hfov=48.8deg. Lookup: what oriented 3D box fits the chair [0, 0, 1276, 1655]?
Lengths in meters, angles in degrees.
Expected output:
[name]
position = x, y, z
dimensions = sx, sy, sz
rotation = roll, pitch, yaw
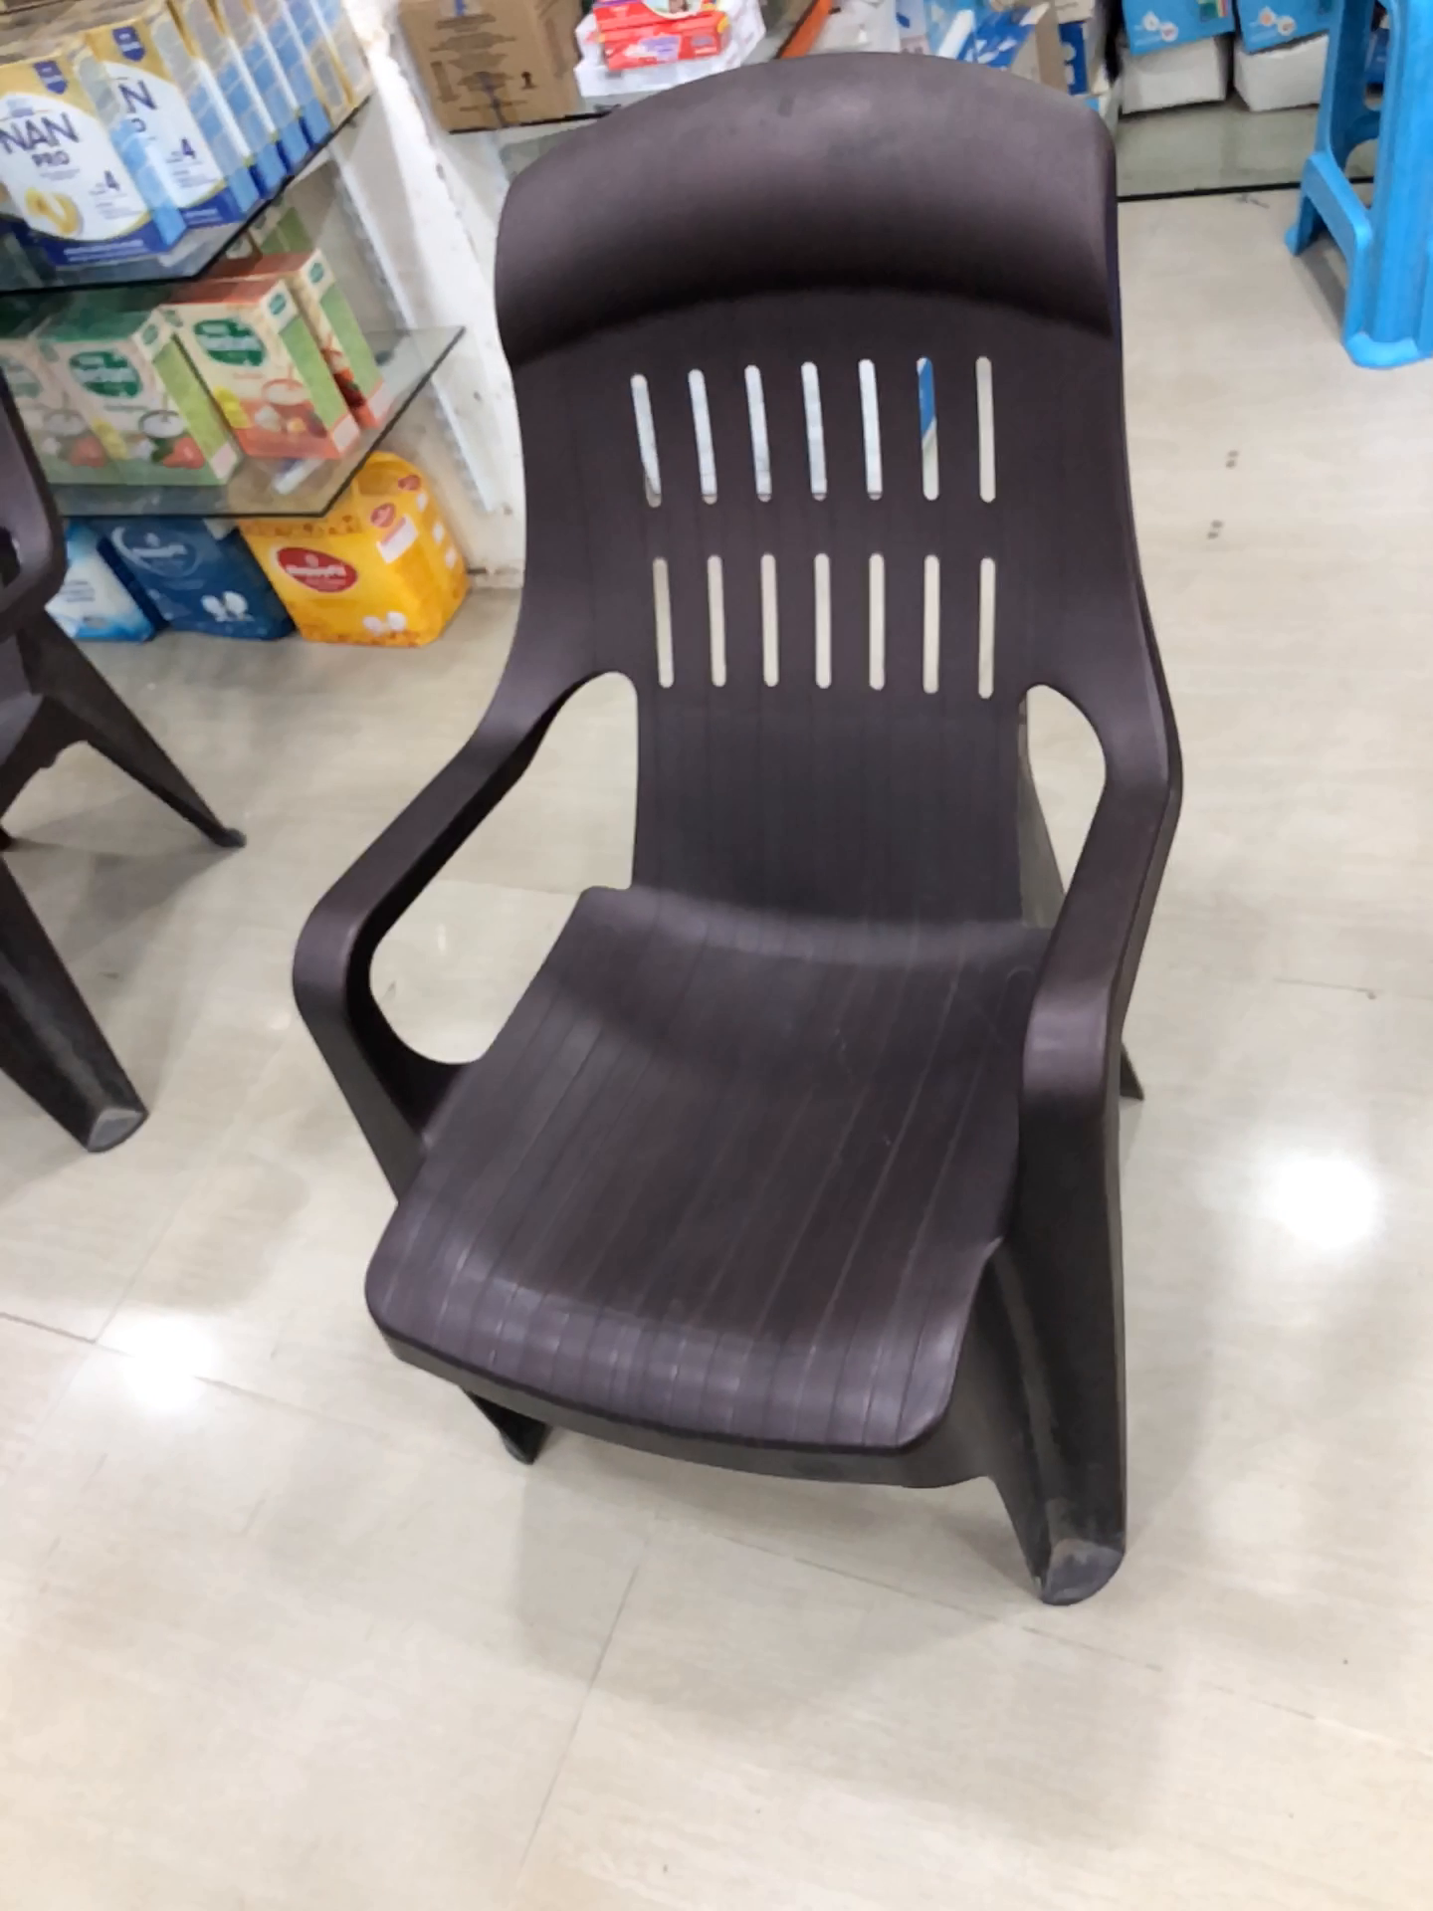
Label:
[chair]
position = 0.029, -0.059, 1.150
dimensions = 0.630, 0.846, 0.683
rotation = 6, 53, 24
